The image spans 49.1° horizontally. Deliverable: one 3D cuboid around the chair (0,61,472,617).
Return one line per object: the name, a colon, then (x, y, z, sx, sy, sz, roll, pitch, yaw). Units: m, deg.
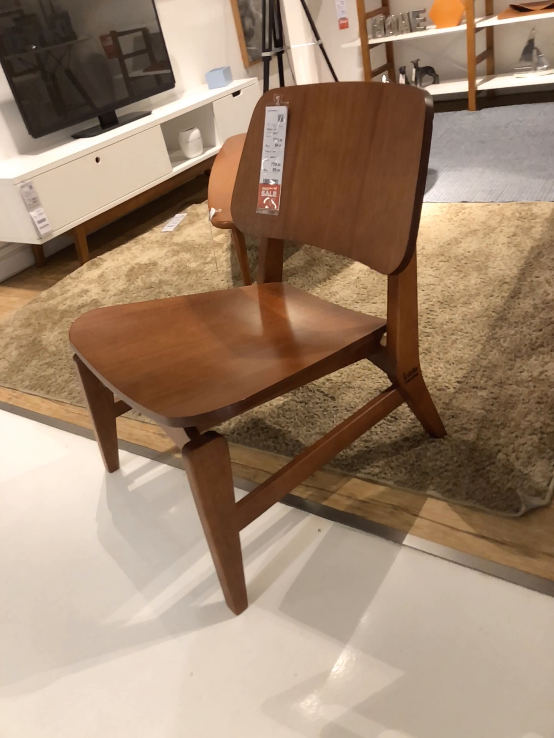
chair: (-0.092, -0.126, 1.125, 0.632, 0.655, 0.583, -30, 35, -25)
